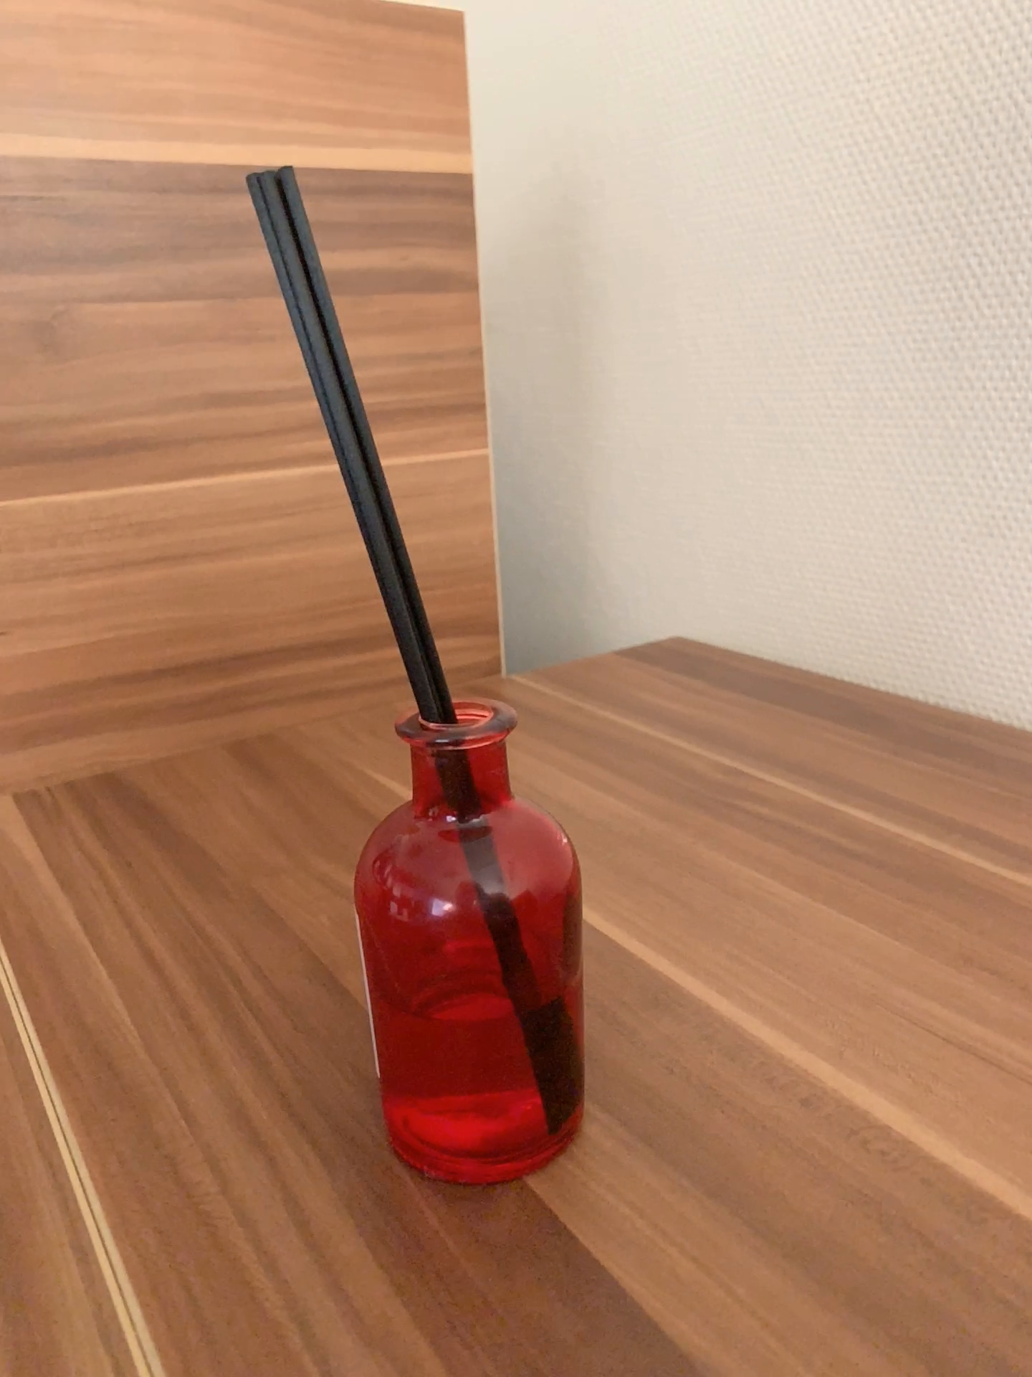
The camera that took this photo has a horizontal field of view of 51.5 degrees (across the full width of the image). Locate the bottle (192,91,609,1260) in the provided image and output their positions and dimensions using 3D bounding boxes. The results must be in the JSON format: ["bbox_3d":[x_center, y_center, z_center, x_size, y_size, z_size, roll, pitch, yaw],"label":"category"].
[{"bbox_3d":[-0.021,0.005,0.244,0.060,0.239,0.050,-12,19,-26],"label":"bottle"}]
